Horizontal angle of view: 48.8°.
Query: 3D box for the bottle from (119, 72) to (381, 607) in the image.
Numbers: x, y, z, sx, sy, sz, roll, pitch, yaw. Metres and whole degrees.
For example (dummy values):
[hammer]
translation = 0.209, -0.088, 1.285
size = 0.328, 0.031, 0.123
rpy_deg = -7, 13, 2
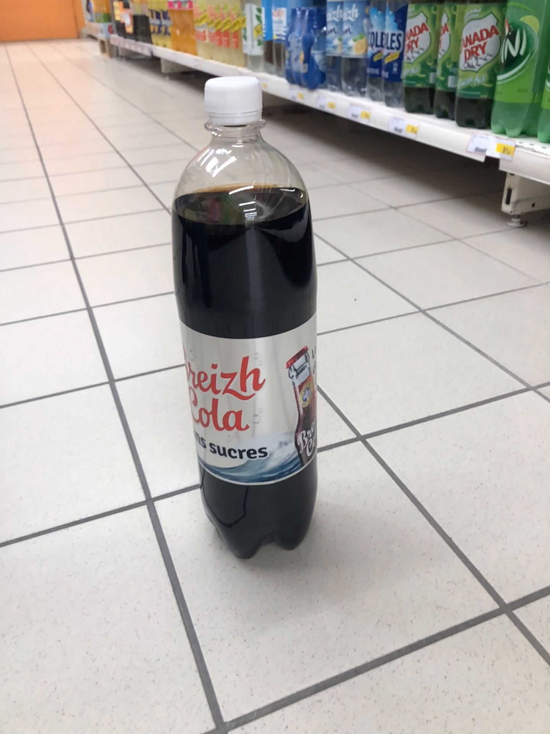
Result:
[bottle]
translation = -0.008, -0.008, 0.391
size = 0.100, 0.318, 0.090
rpy_deg = 23, 38, 36
